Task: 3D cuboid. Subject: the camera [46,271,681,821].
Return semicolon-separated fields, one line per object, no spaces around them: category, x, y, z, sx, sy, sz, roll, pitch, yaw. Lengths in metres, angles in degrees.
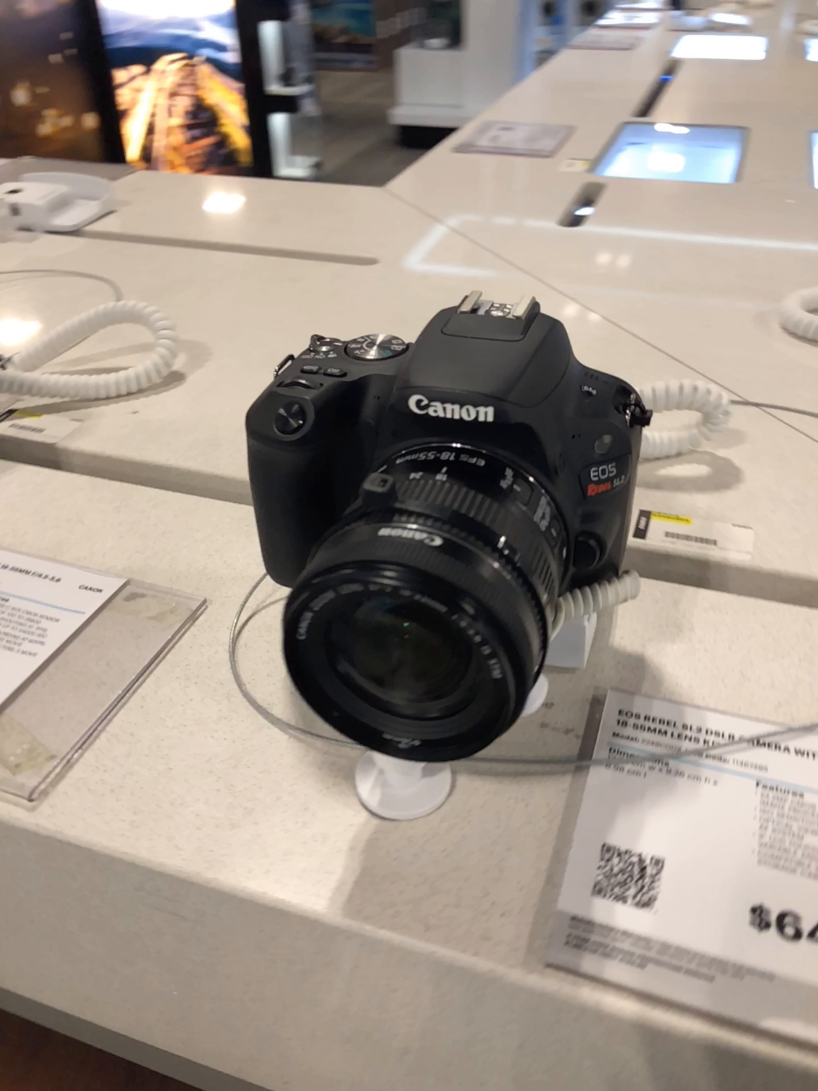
camera;0.002;-0.017;0.269;0.130;0.070;0.151;10;38;16
